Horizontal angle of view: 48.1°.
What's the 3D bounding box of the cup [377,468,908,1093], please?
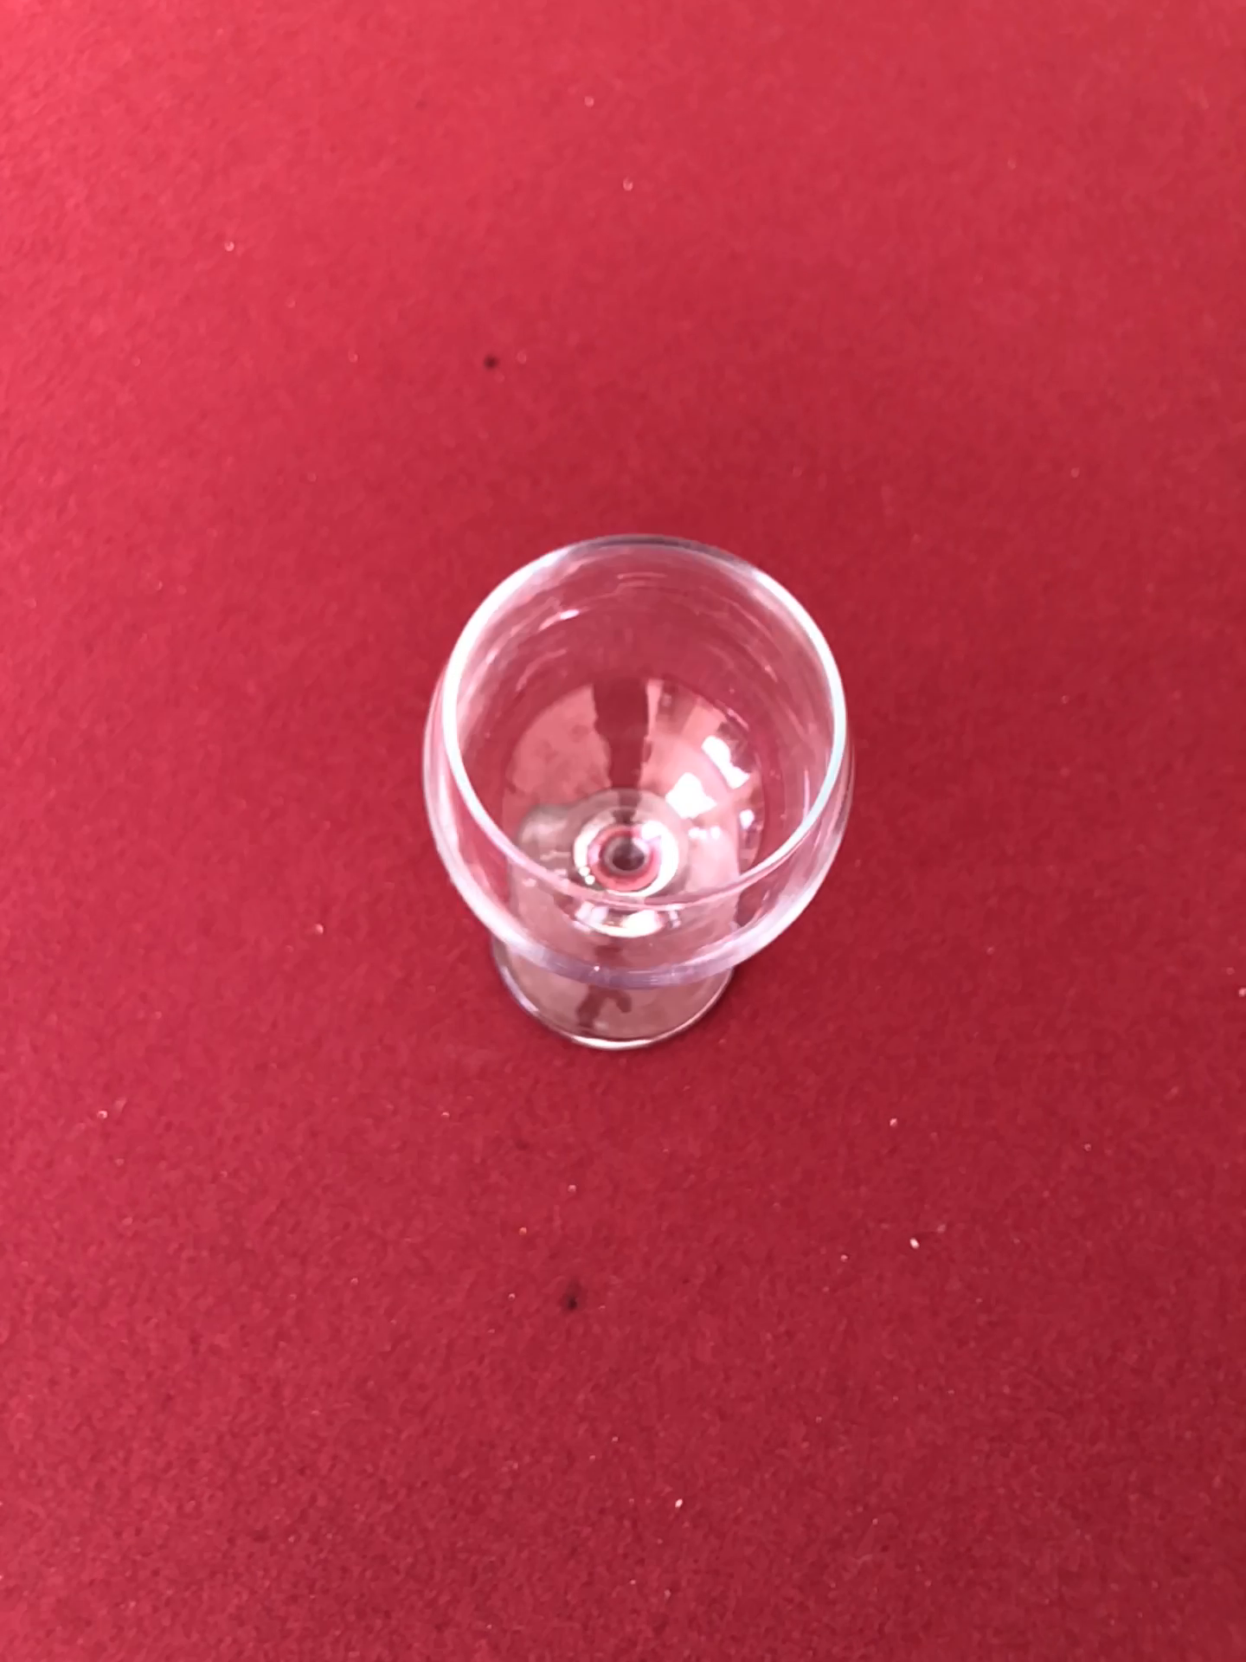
[{"bbox_3d":[0.002,0.000,0.289,0.070,0.130,0.070,1,70,-3],"label":"cup"}]
